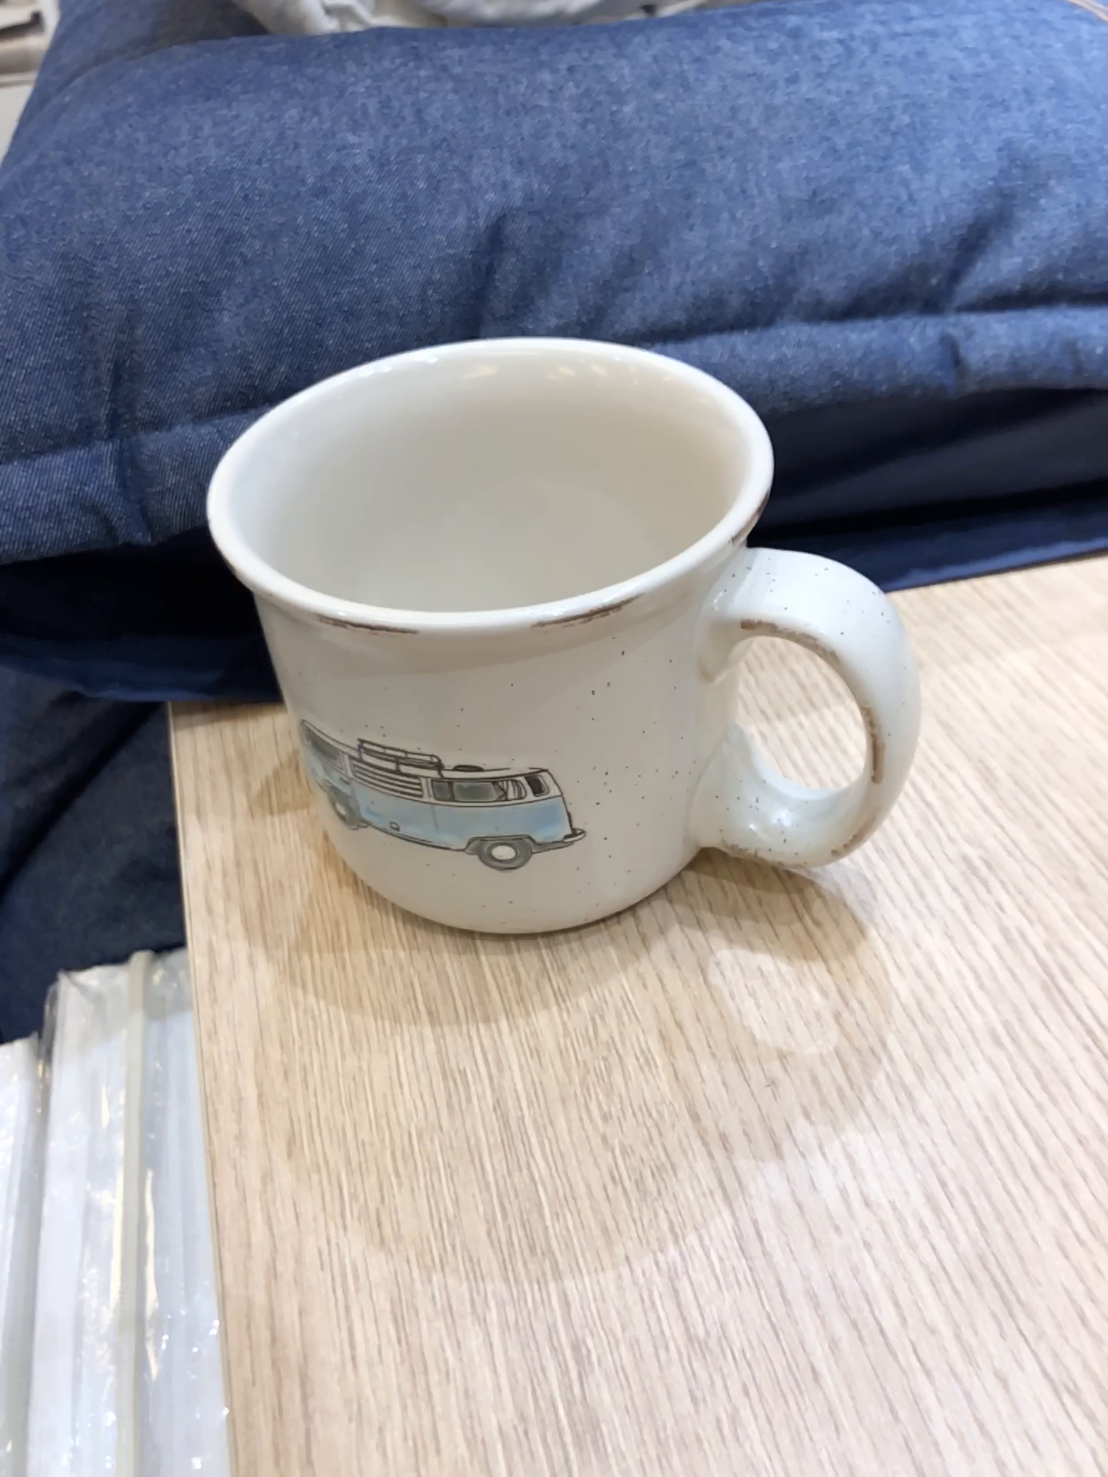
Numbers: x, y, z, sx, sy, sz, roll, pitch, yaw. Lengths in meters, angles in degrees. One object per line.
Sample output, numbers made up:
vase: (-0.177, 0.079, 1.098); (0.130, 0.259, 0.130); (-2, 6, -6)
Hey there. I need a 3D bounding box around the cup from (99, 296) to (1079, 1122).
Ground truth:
cup: (0.012, -0.016, 0.243); (0.140, 0.089, 0.101); (15, 45, 22)
